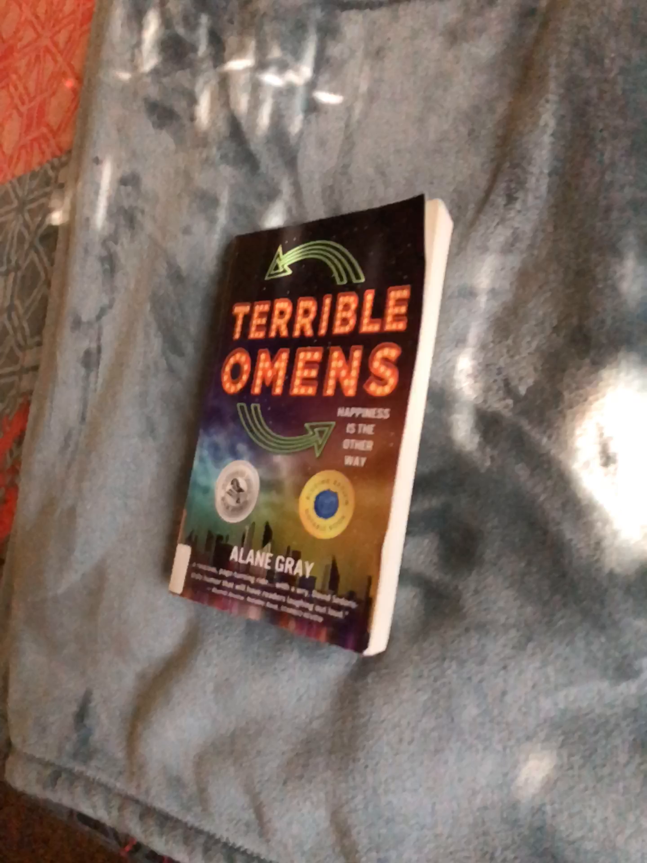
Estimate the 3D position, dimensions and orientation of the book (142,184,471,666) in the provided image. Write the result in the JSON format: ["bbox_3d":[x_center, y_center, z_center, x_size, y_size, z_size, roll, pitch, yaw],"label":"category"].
[{"bbox_3d":[-0.013,-0.007,0.343,0.141,0.028,0.200,4,81,39],"label":"book"}]
